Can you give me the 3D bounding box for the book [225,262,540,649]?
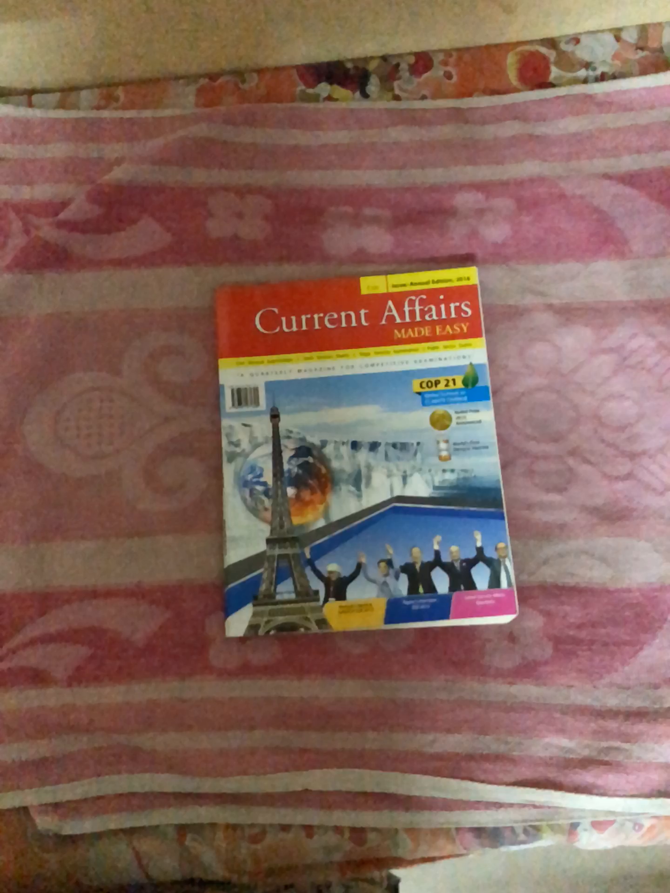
[{"bbox_3d":[0.028,0.002,0.549,0.205,0.025,0.270,-4,77,1],"label":"book"}]
